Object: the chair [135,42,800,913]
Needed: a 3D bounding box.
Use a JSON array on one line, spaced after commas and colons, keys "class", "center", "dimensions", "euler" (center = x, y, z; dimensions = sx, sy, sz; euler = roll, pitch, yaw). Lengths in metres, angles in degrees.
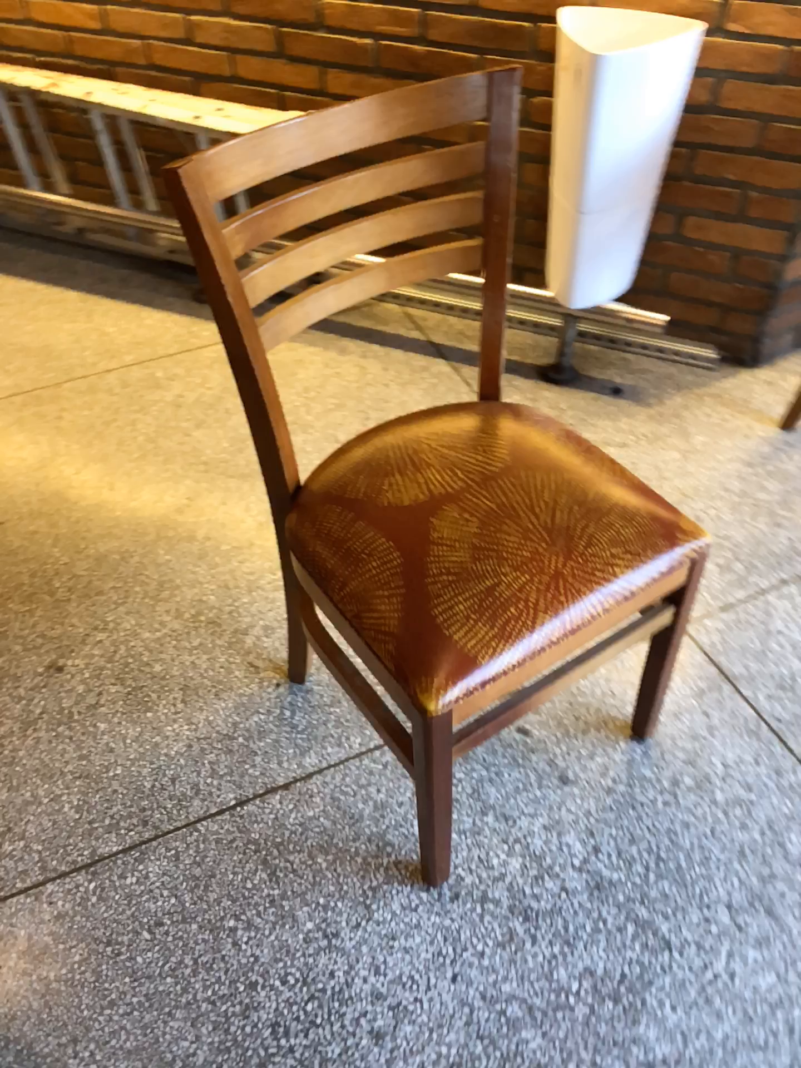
[{"class": "chair", "center": [0.083, -0.032, 1.077], "dimensions": [0.451, 0.844, 0.472], "euler": [-28, 51, -23]}]
